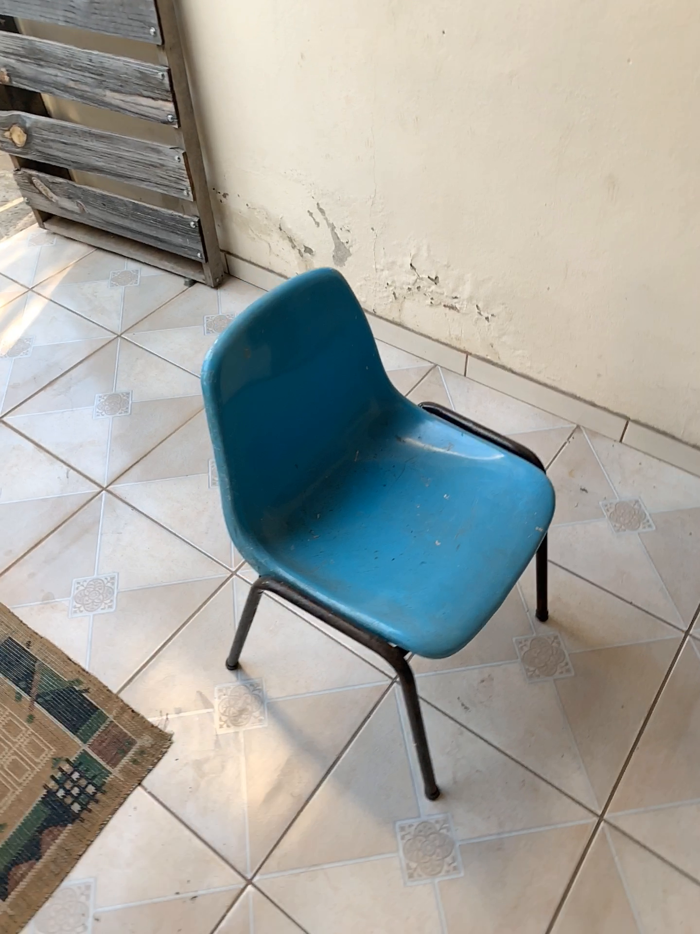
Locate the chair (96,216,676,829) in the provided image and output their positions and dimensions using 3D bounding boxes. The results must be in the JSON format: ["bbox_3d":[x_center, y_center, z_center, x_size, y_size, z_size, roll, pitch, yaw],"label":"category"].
[{"bbox_3d":[0.073,0.100,1.185,0.531,0.687,0.552,28,57,24],"label":"chair"}]
